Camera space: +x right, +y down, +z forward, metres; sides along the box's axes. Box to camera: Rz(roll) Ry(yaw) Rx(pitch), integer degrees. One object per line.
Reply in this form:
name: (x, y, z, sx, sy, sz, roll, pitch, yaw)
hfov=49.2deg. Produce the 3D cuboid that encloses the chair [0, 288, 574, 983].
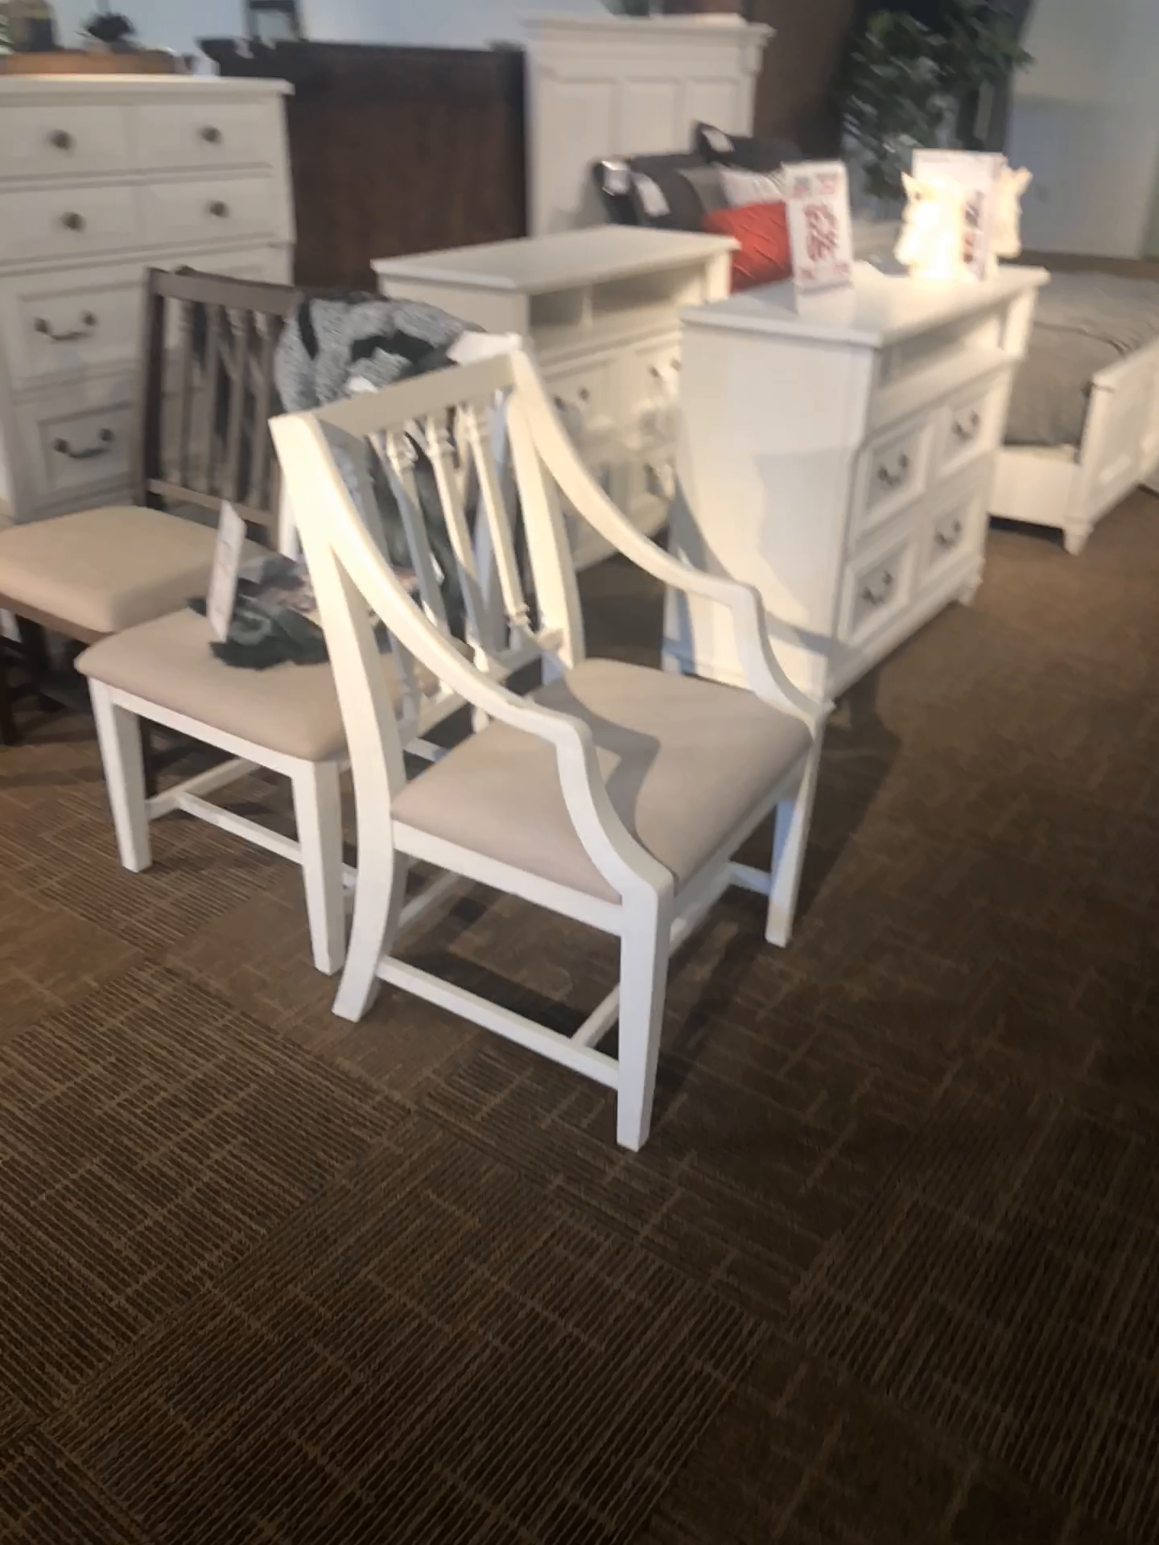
chair: (-0.429, -0.273, 2.102, 0.561, 0.885, 0.642, 20, 34, 31)

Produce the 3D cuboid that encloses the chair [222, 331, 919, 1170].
chair: (0.008, -0.092, 1.816, 0.631, 0.885, 0.653, 18, 33, 28)

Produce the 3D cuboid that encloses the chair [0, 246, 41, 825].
chair: (-1.598, -0.513, 2.583, 0.601, 0.955, 0.542, 22, 35, 34)

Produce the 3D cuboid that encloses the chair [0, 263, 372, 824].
chair: (-0.900, -0.502, 2.566, 0.681, 0.885, 0.582, 20, 34, 31)

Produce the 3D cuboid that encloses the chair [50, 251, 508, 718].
chair: (-0.711, -0.758, 3.148, 0.871, 0.885, 0.602, 20, 34, 31)
